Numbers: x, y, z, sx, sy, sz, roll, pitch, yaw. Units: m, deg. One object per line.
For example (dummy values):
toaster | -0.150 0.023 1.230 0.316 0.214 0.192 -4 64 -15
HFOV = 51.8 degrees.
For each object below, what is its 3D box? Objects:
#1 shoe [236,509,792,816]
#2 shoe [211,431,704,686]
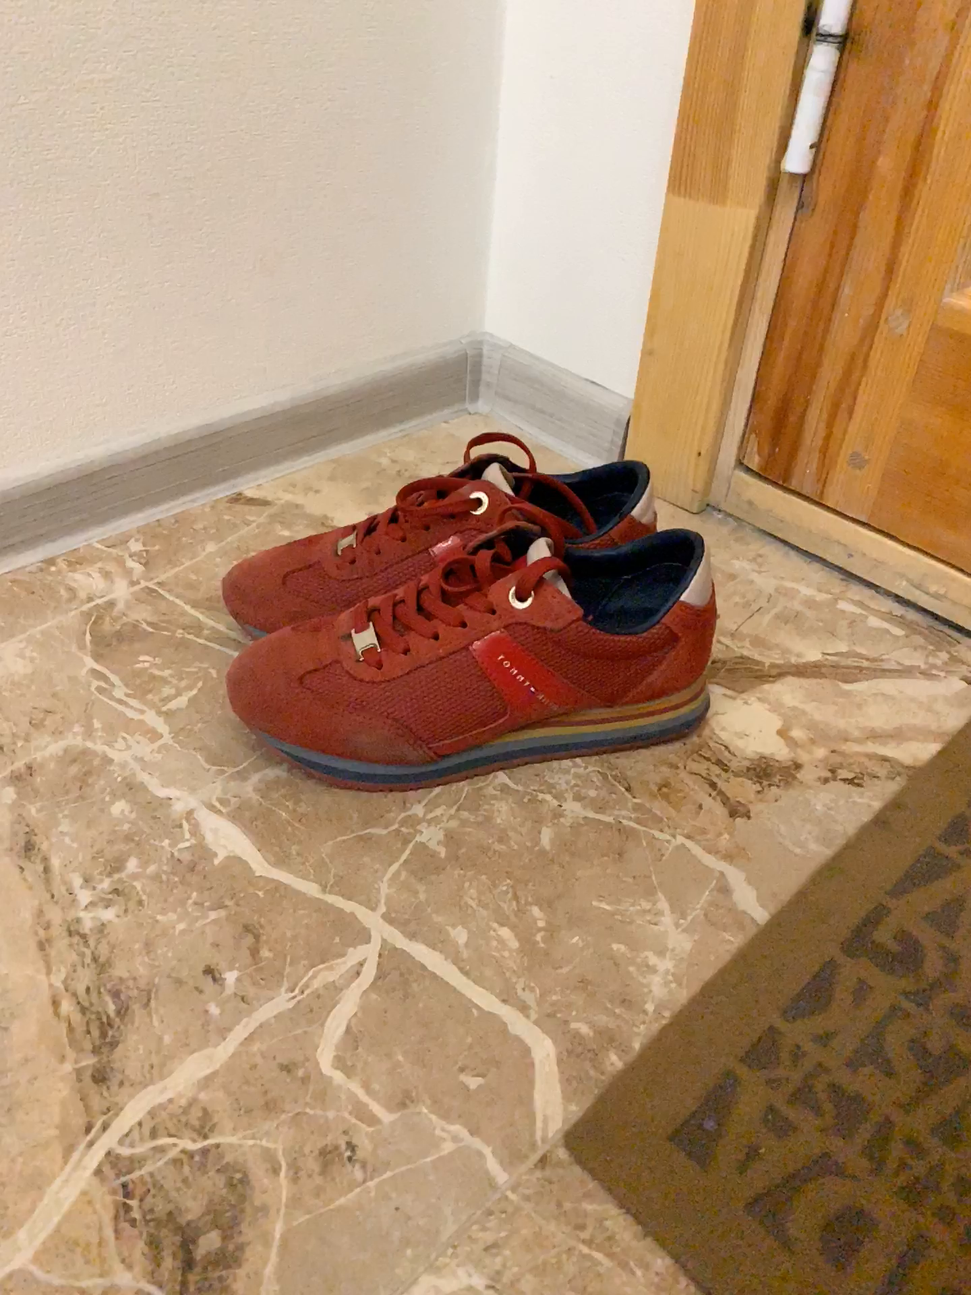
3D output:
shoe | 0.008 0.002 0.483 0.240 0.089 0.091 -5 38 -13
shoe | -0.019 -0.052 0.540 0.240 0.089 0.091 -4 38 -12
